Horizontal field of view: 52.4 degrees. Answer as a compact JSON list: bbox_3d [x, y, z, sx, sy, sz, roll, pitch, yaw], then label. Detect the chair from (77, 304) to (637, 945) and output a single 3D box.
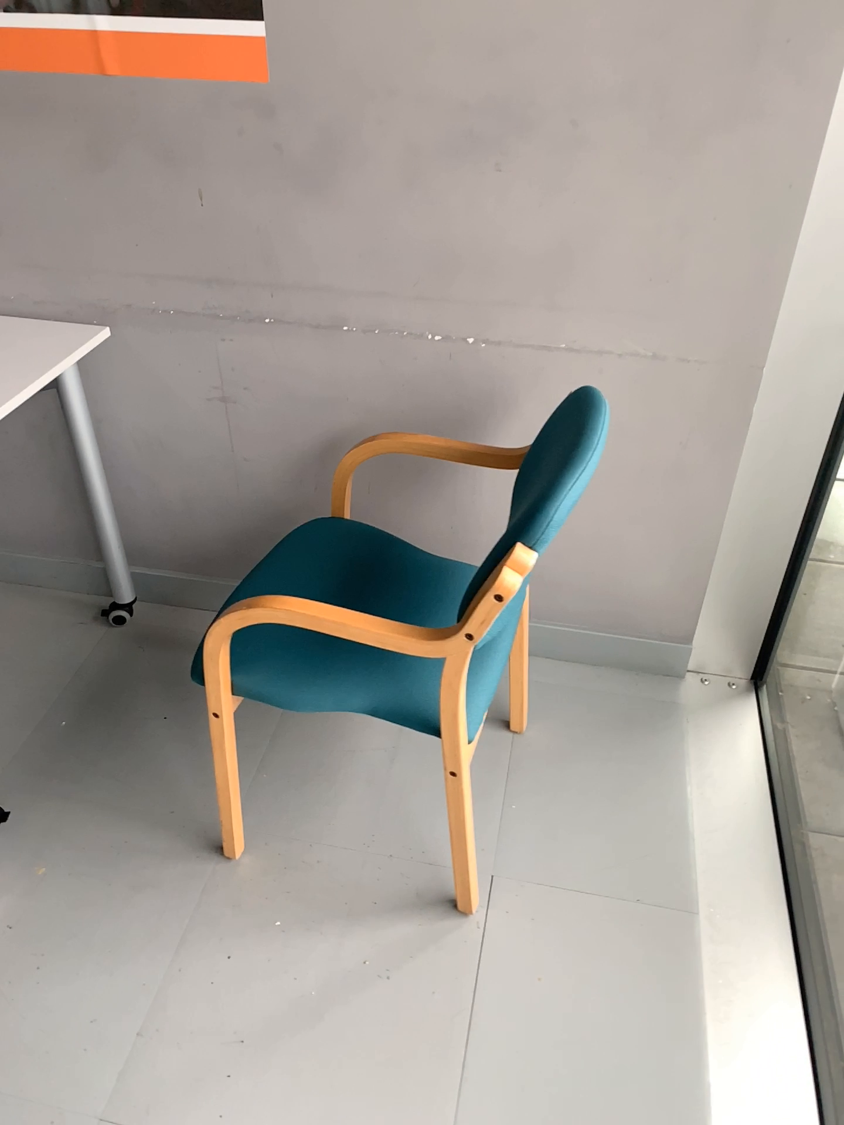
[{"bbox_3d":[-0.031,0.061,1.463,0.641,0.723,0.686,9,37,11],"label":"chair"}]
